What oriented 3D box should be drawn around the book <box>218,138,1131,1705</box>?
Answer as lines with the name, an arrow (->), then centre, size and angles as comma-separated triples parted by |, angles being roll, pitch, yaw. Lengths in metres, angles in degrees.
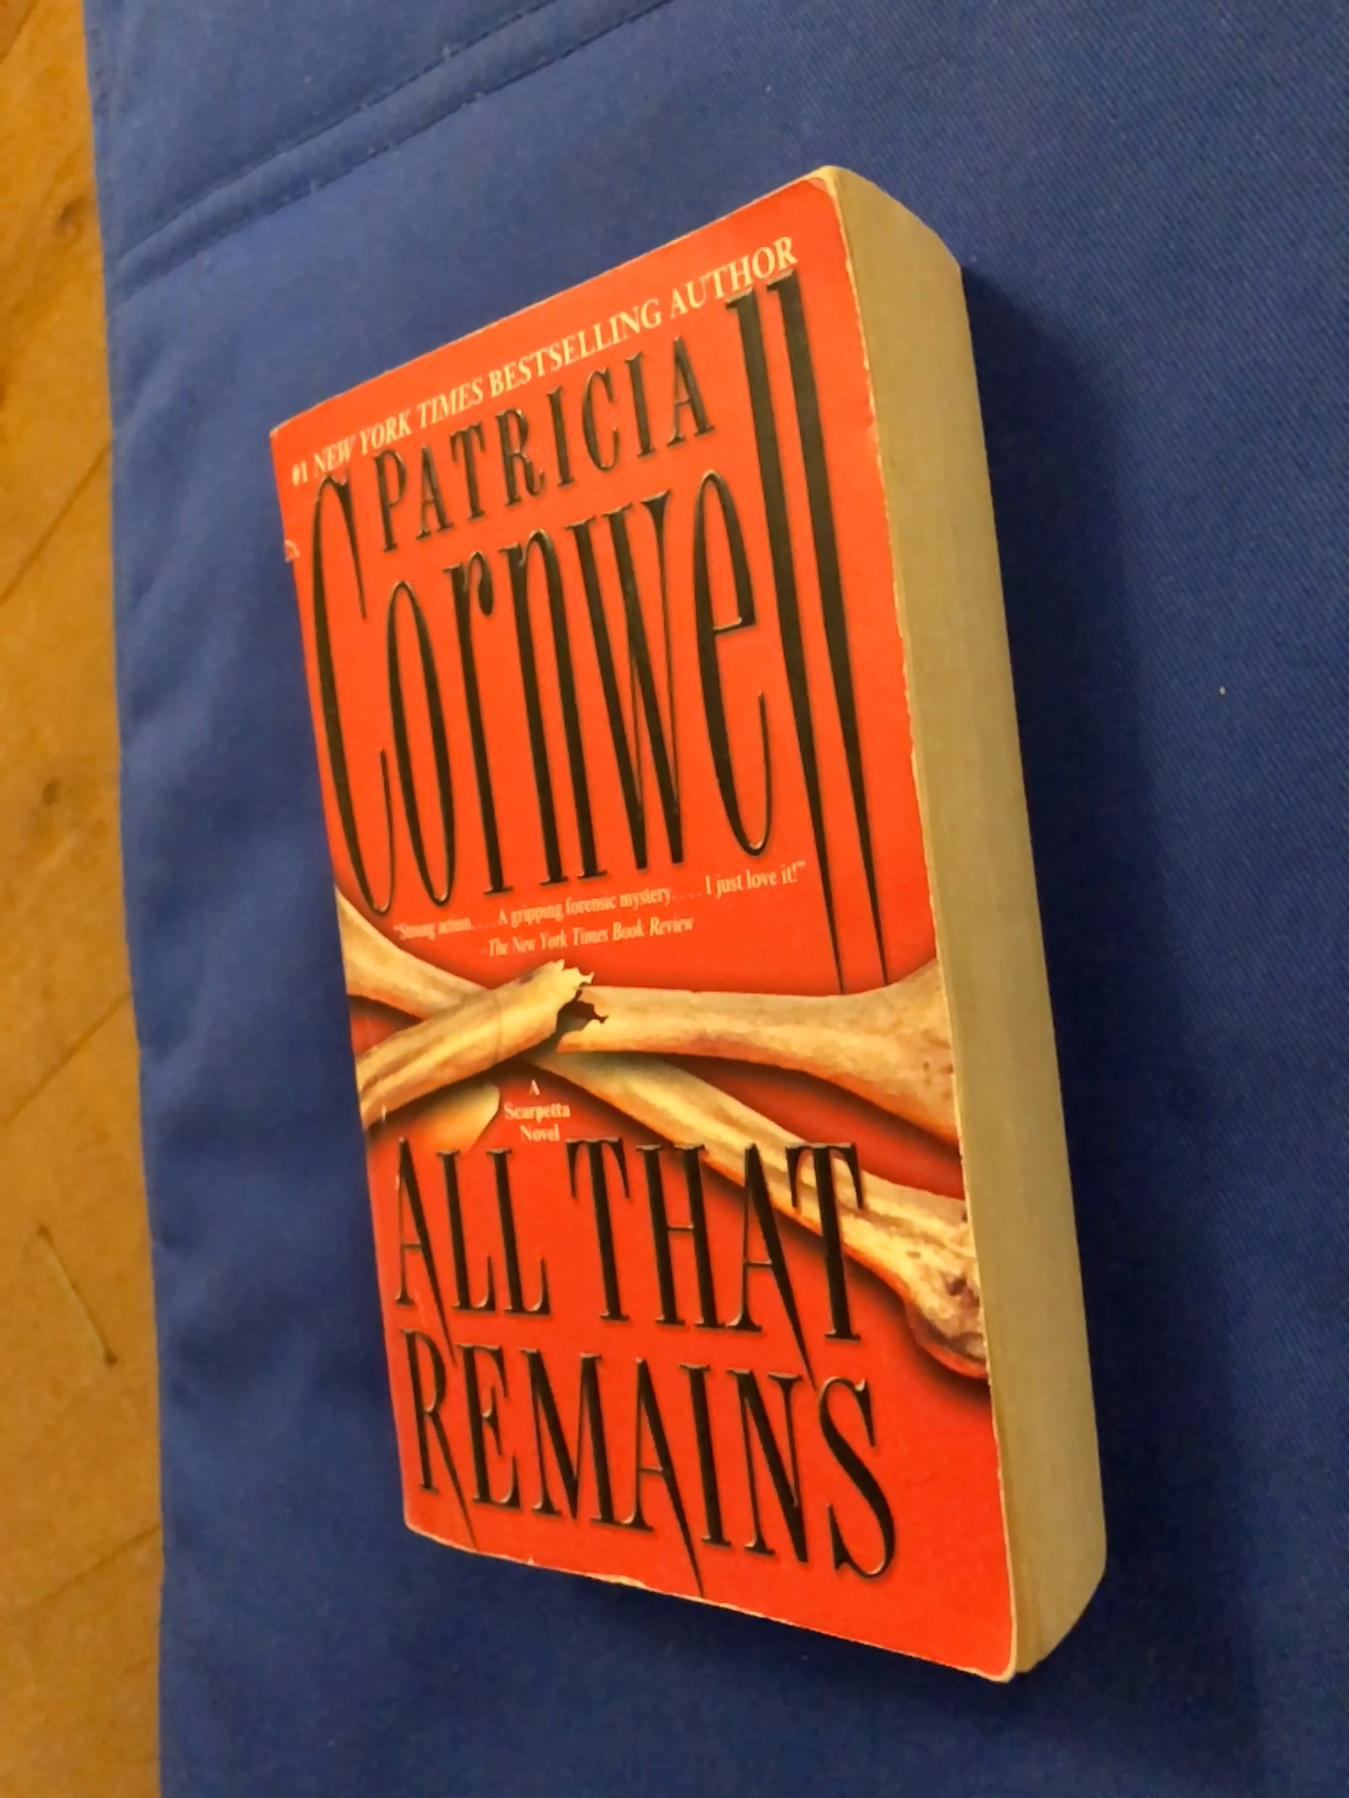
book -> -0.007, 0.006, 0.204 | 0.110, 0.030, 0.166 | -8, 88, 37
